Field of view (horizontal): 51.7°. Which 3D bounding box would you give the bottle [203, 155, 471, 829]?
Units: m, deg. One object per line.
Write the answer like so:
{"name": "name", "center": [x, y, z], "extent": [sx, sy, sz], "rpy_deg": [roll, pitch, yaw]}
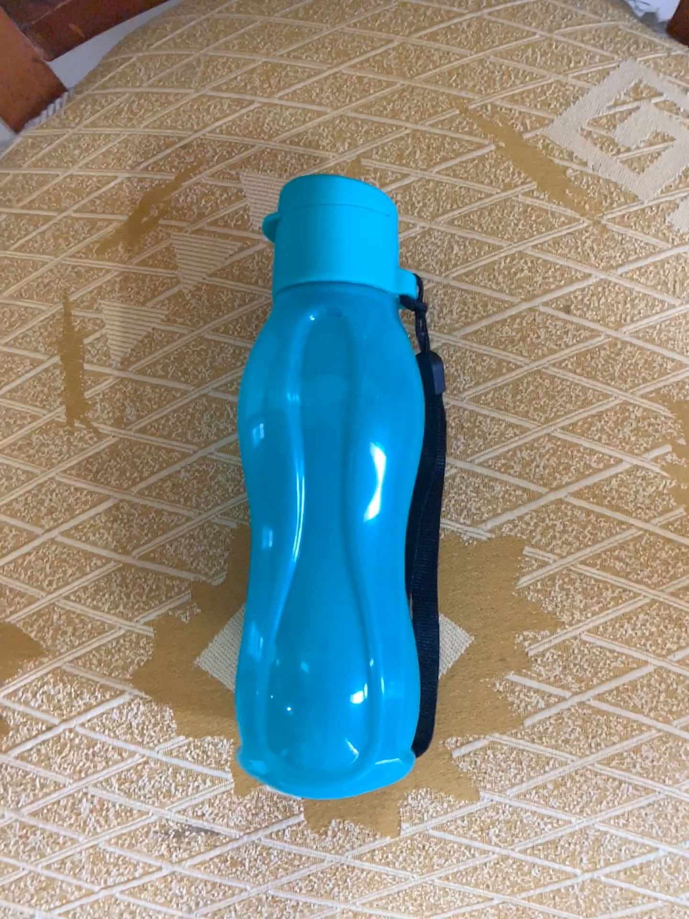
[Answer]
{"name": "bottle", "center": [0.001, 0.007, 0.239], "extent": [0.070, 0.050, 0.200], "rpy_deg": [3, 85, 5]}
